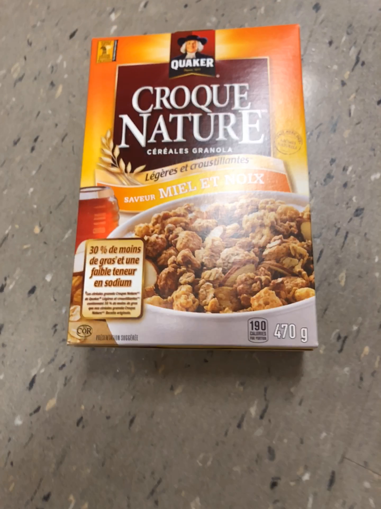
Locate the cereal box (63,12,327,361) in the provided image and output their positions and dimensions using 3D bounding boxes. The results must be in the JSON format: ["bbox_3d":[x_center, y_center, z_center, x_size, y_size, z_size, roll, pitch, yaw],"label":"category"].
[{"bbox_3d":[0.004,-0.048,0.309,0.160,0.050,0.240,-1,77,6],"label":"cereal box"}]
